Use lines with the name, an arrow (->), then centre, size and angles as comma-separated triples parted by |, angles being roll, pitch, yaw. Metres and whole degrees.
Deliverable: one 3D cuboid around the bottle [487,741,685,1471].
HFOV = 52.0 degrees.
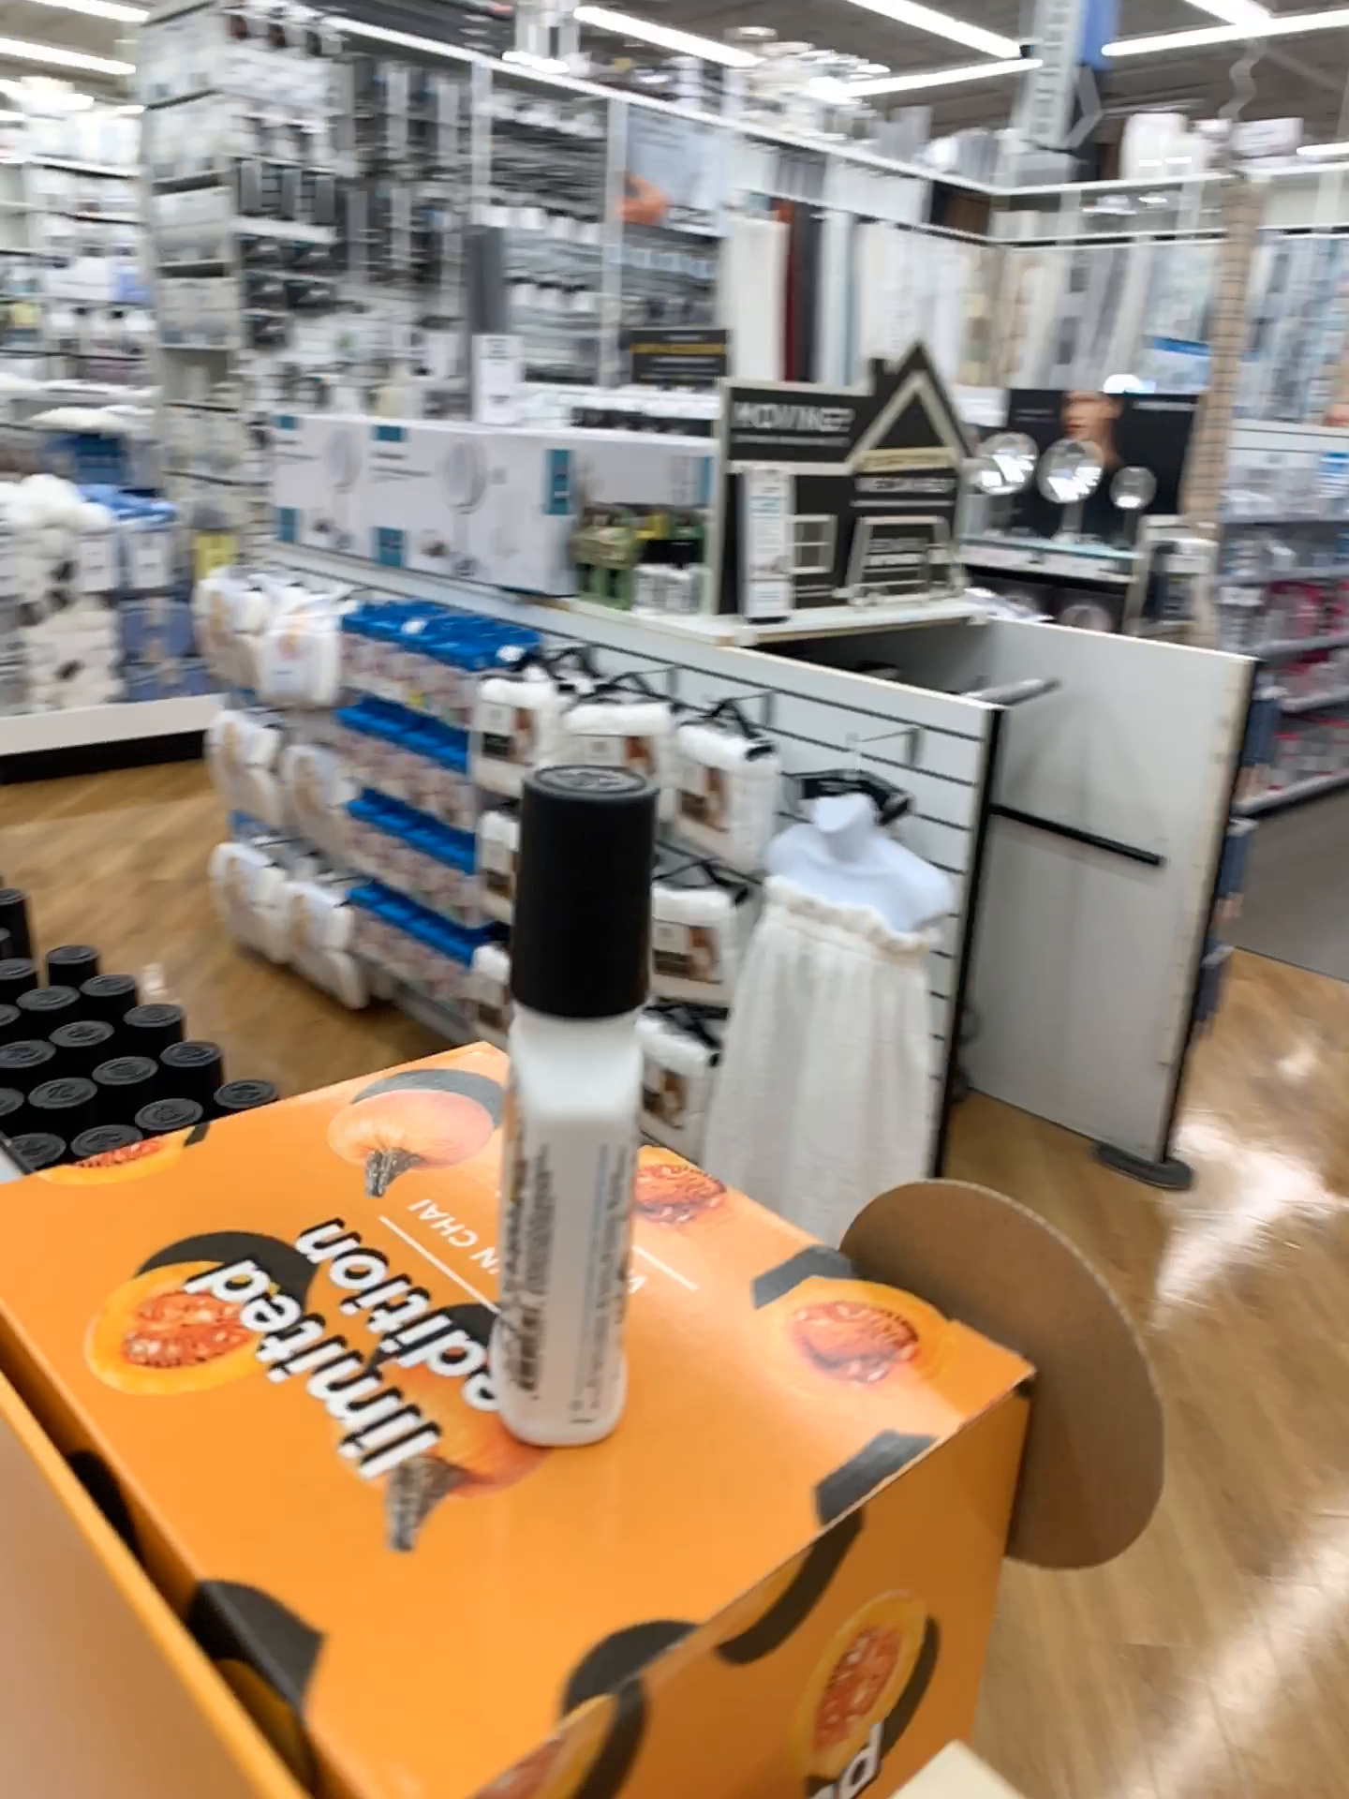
bottle -> -0.023, 0.045, 0.309 | 0.033, 0.151, 0.055 | 0, 20, -10
